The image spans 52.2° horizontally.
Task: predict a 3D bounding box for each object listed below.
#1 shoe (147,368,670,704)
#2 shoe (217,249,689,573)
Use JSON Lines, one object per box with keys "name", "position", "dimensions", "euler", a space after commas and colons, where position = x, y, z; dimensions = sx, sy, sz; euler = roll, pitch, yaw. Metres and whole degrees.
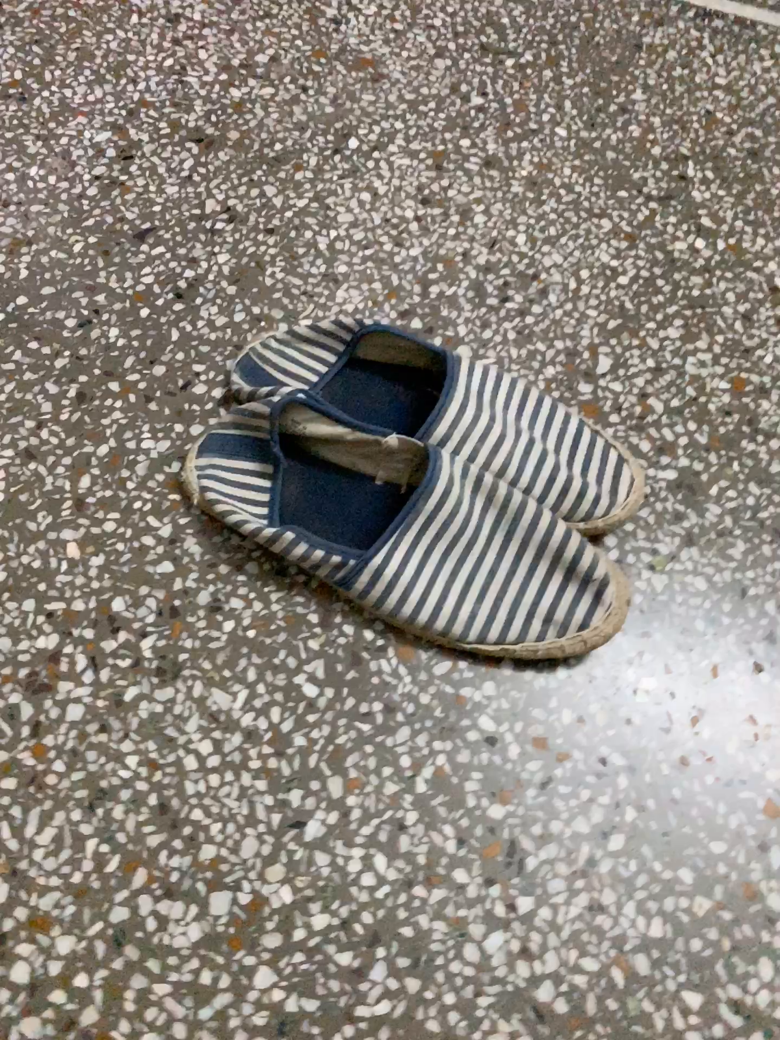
{"name": "shoe", "position": [0.011, 0.007, 0.488], "dimensions": [0.290, 0.050, 0.100], "euler": [20, 65, 5]}
{"name": "shoe", "position": [0.039, -0.077, 0.535], "dimensions": [0.290, 0.050, 0.100], "euler": [25, 66, 7]}
